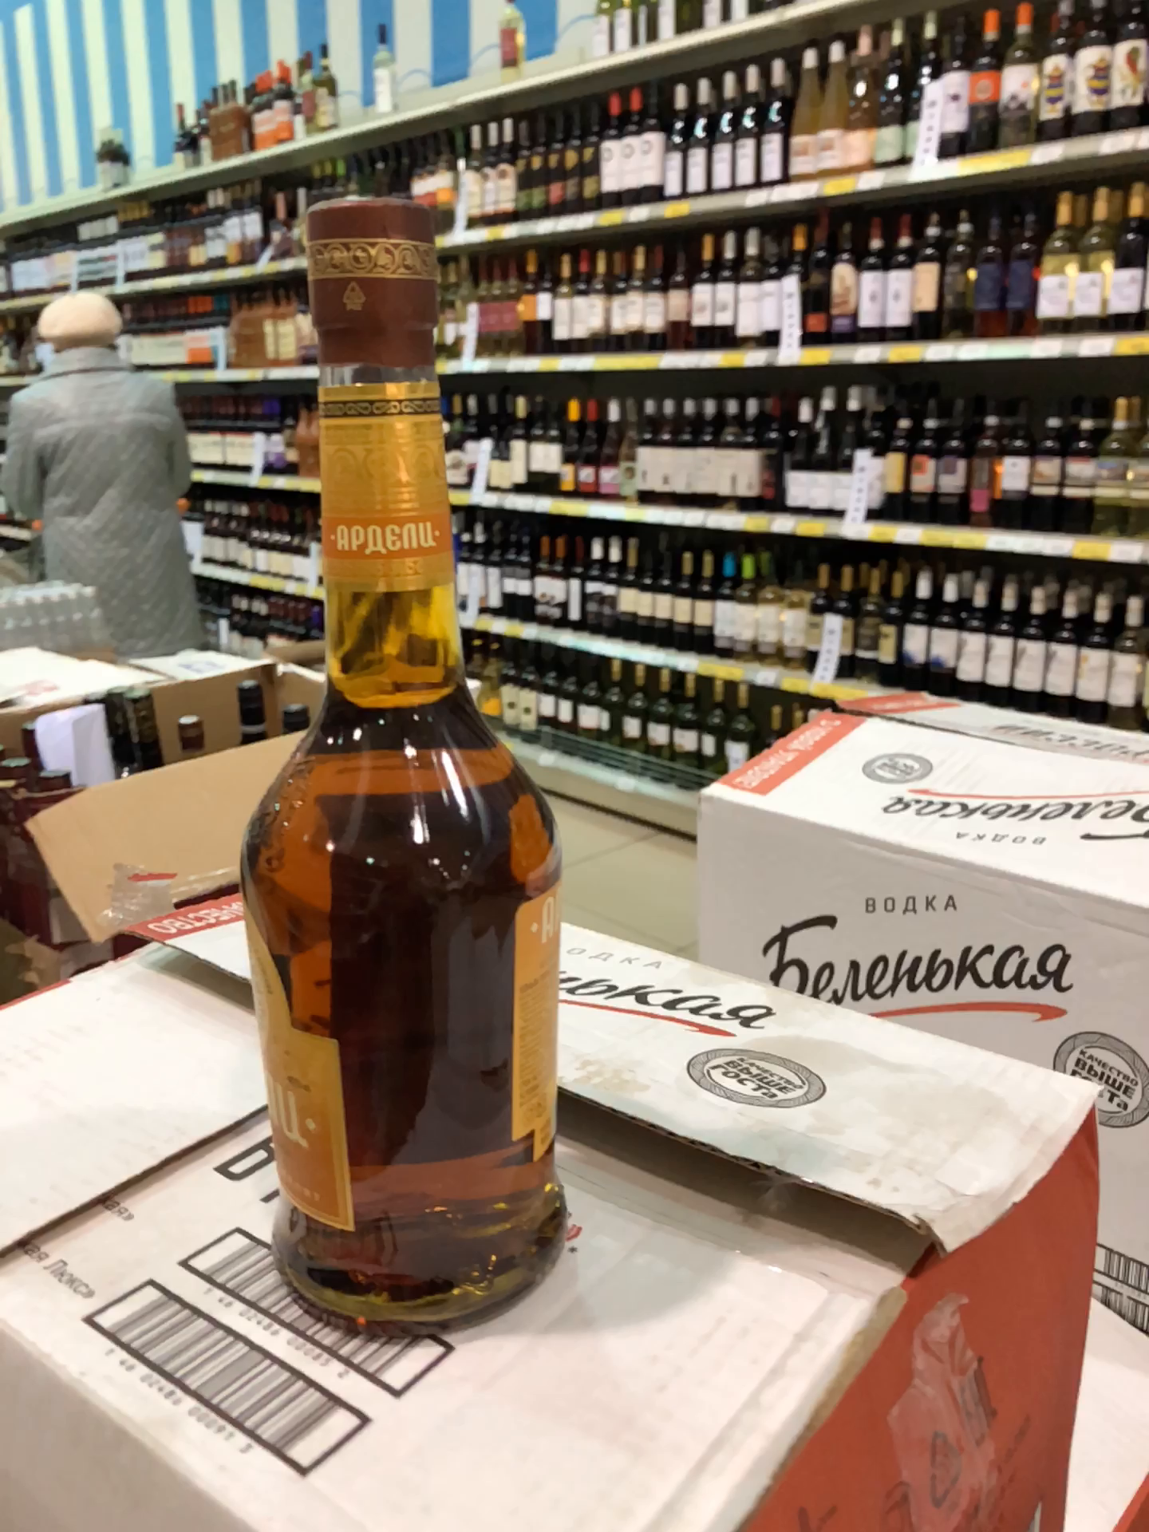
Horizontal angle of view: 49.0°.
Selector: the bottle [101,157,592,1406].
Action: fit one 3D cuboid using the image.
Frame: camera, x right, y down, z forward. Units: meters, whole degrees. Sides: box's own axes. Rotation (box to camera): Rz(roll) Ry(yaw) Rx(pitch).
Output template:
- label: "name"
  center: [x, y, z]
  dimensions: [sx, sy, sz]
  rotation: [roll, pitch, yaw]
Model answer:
- label: "bottle"
  center: [-0.041, 0.008, 0.292]
  dimensions: [0.080, 0.259, 0.080]
  rotation: [-1, 16, 0]
